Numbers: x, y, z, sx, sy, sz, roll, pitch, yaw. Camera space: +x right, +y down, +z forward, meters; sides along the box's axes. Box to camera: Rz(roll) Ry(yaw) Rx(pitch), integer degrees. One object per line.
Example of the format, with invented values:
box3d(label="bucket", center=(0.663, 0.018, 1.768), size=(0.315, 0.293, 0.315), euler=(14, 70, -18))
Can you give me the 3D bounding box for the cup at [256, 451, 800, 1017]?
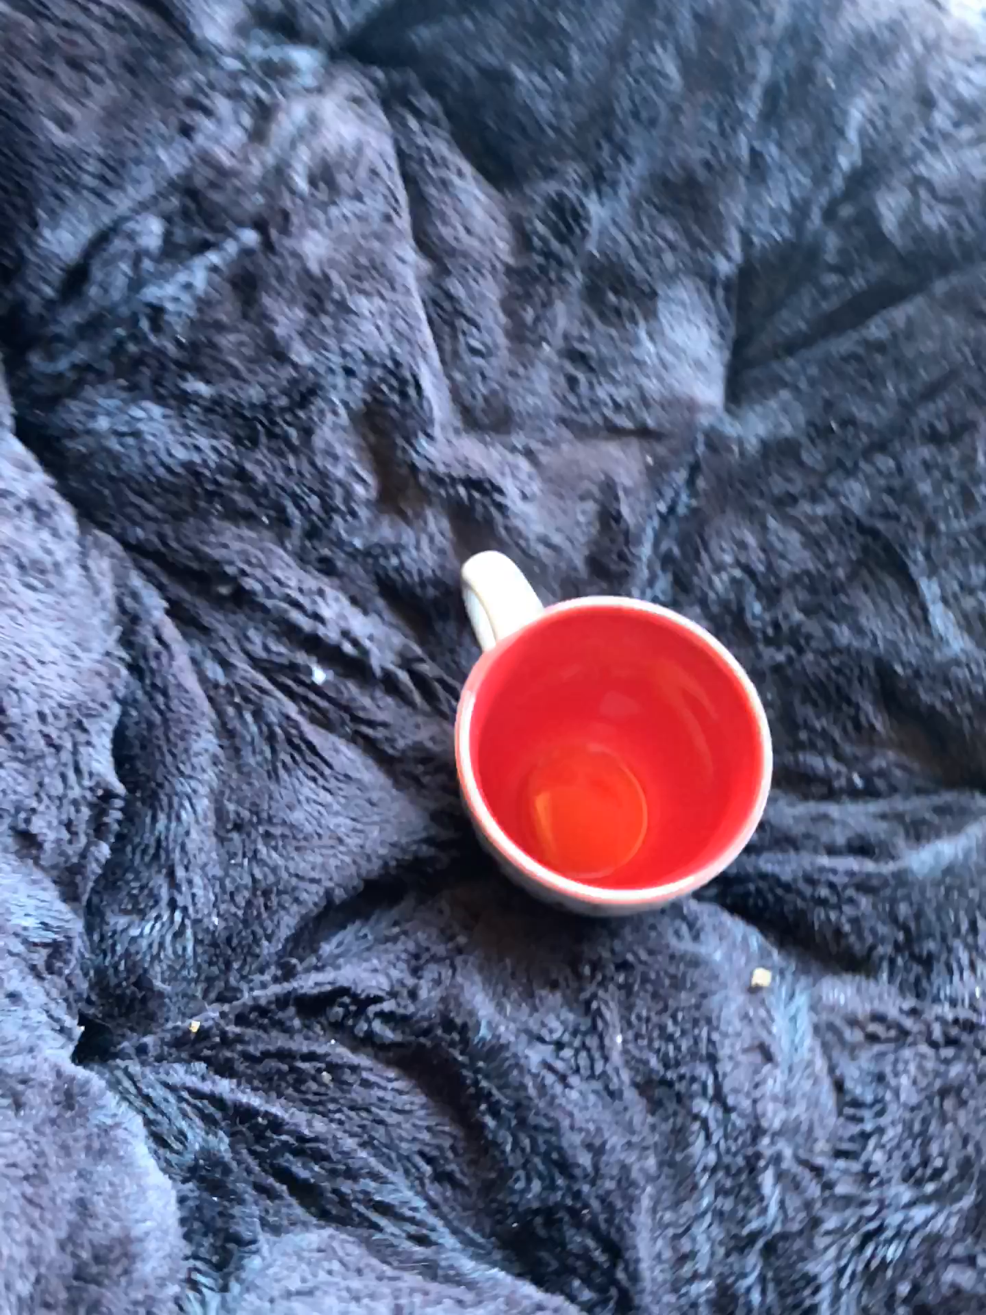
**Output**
box3d(label="cup", center=(0.005, 0.032, 0.385), size=(0.100, 0.110, 0.140), euler=(-35, 76, -18))
